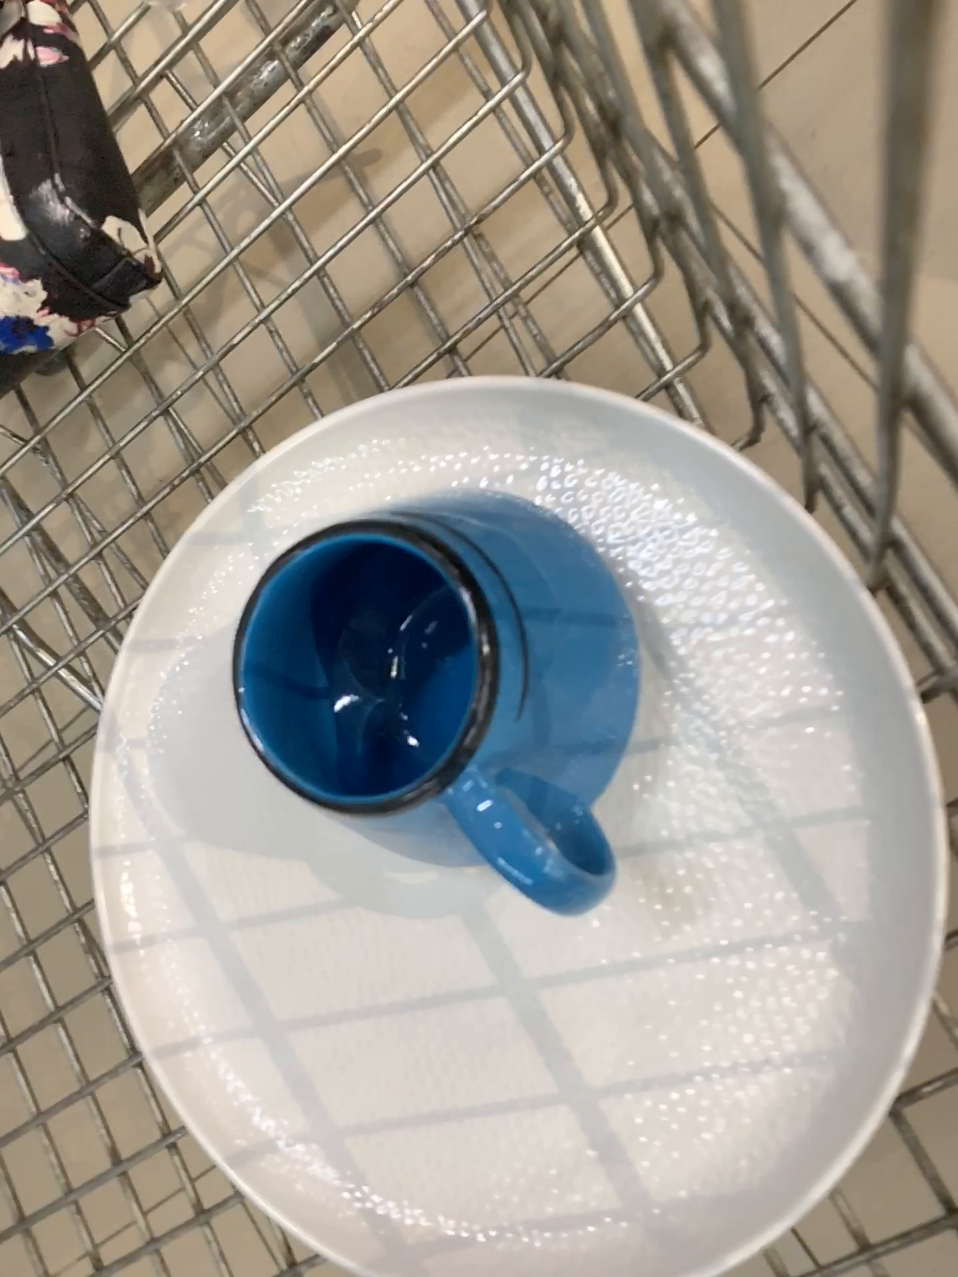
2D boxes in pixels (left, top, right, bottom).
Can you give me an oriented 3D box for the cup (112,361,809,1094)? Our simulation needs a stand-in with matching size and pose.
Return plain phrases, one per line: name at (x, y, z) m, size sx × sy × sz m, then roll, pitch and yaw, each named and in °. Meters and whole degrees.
cup at (0.000, 0.018, 0.258) m, size 0.130 × 0.090 × 0.100 m, roll 45°, pitch 104°, yaw 15°
